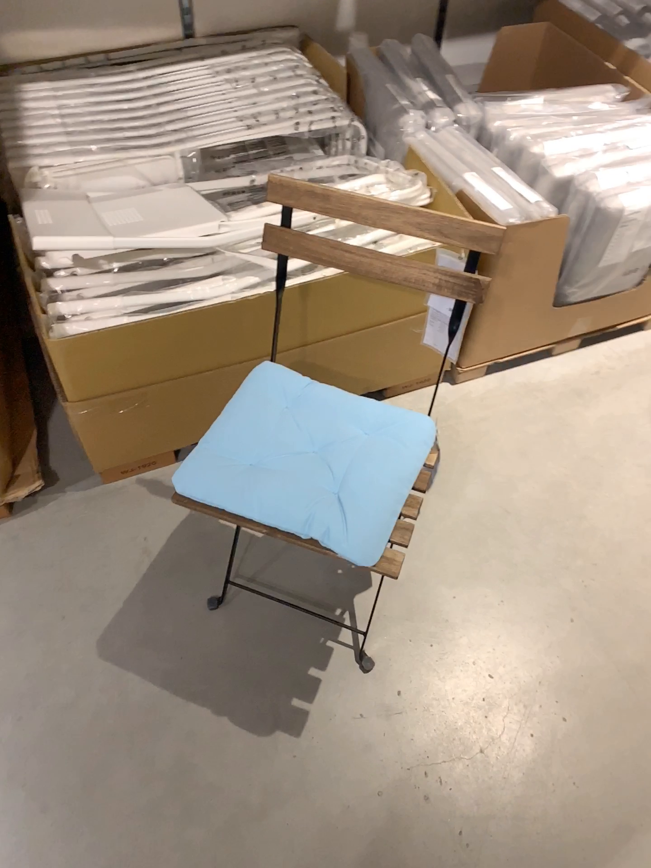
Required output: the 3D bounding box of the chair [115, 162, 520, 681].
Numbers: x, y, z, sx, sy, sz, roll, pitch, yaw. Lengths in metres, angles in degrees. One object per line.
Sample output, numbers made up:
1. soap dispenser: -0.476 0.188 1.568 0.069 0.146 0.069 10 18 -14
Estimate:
1. chair: 0.010 0.023 1.163 0.400 0.738 0.461 17 53 11
